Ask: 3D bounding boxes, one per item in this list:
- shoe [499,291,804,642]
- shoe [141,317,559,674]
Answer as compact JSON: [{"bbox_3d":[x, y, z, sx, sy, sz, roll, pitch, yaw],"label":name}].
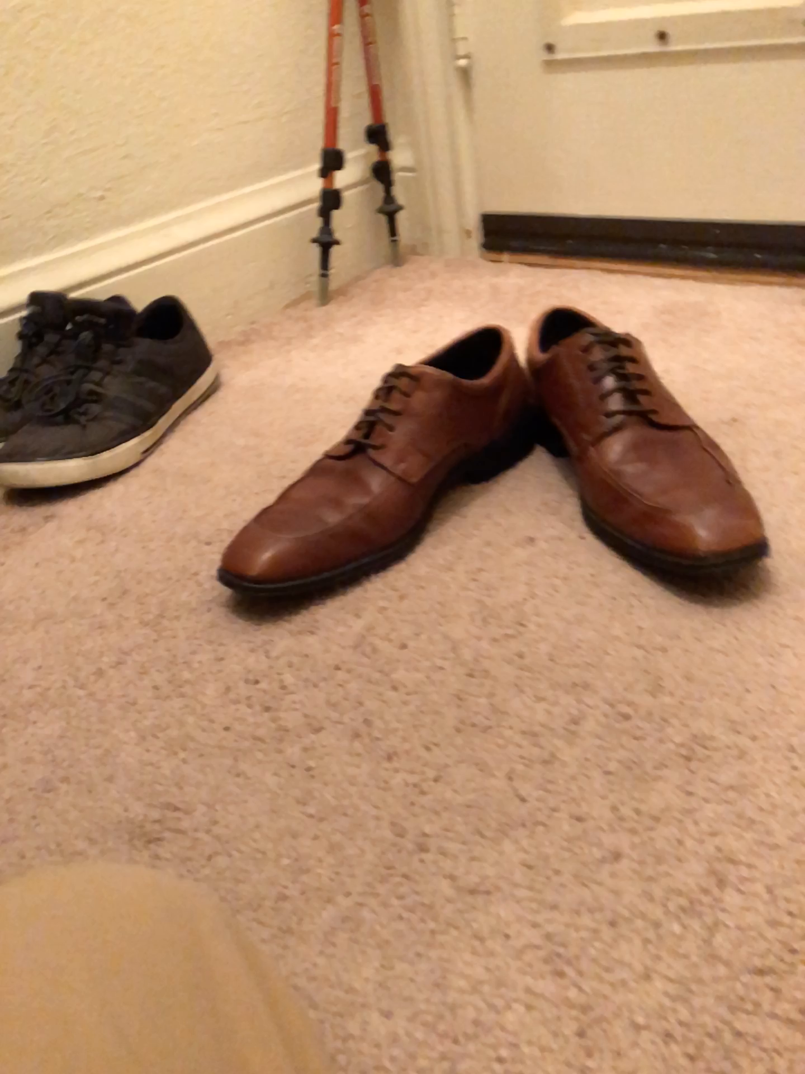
[{"bbox_3d":[0.163,-0.071,0.629,0.100,0.109,0.302,-12,32,-5],"label":"shoe"},{"bbox_3d":[-0.020,-0.050,0.664,0.120,0.119,0.301,21,43,39],"label":"shoe"}]
